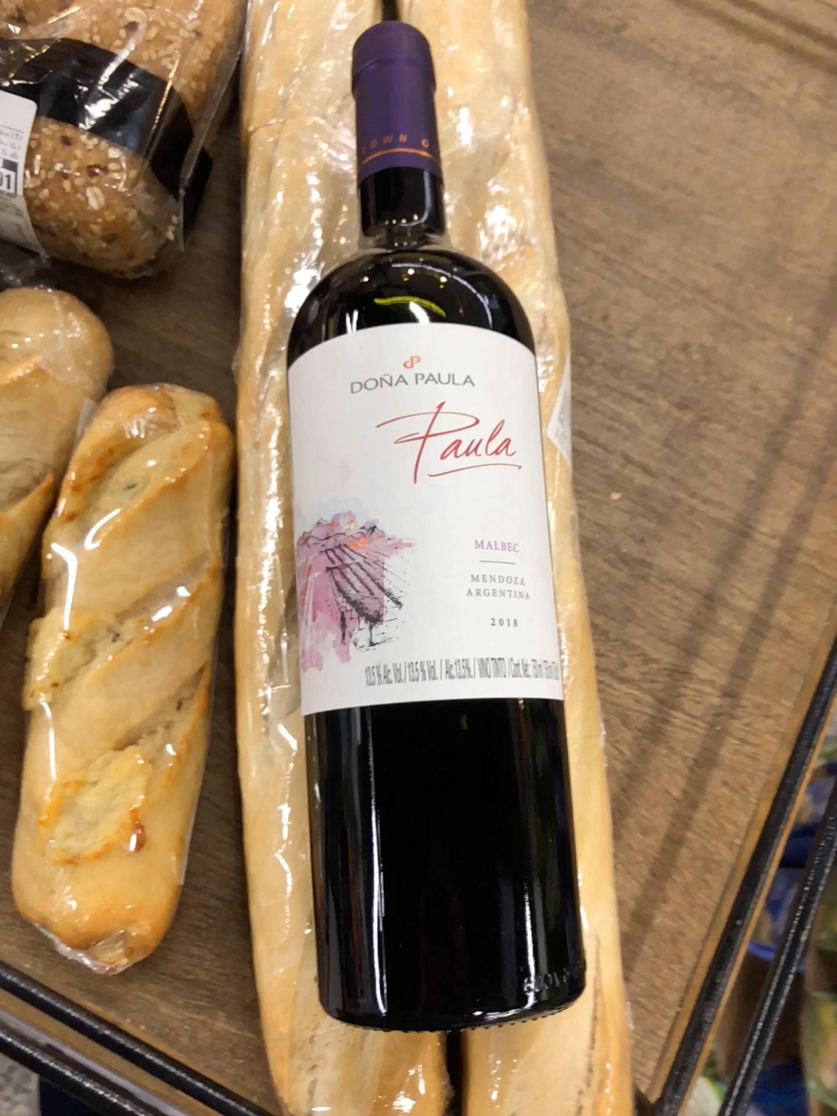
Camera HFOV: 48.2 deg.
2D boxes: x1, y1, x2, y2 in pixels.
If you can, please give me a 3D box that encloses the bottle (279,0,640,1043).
[{"bbox_3d":[0.002,-0.035,0.271,0.070,0.060,0.300,-3,75,-4],"label":"bottle"}]
